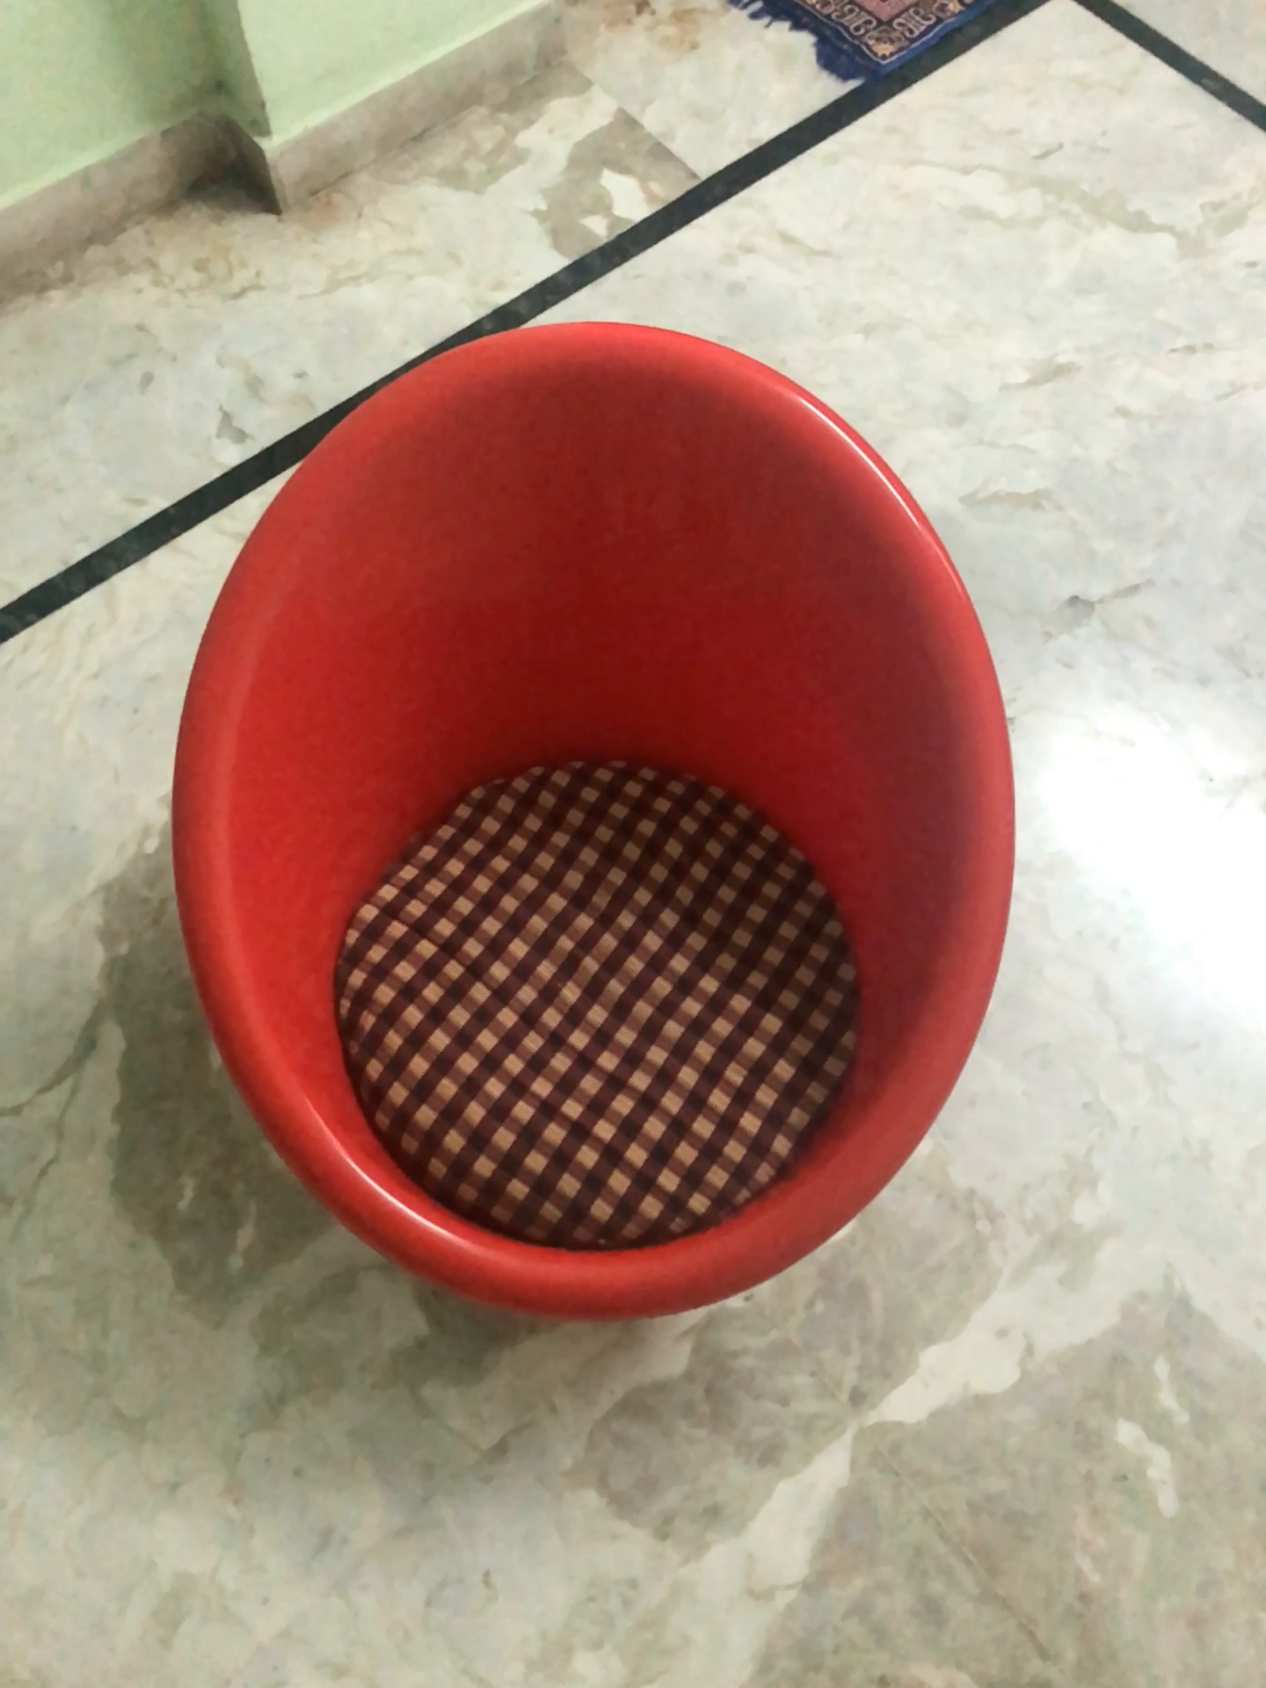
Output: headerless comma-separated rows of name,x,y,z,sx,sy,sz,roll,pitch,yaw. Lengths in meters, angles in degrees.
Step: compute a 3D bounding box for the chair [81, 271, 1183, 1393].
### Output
chair,-0.032,0.017,1.161,0.620,0.508,0.742,-5,66,-2
